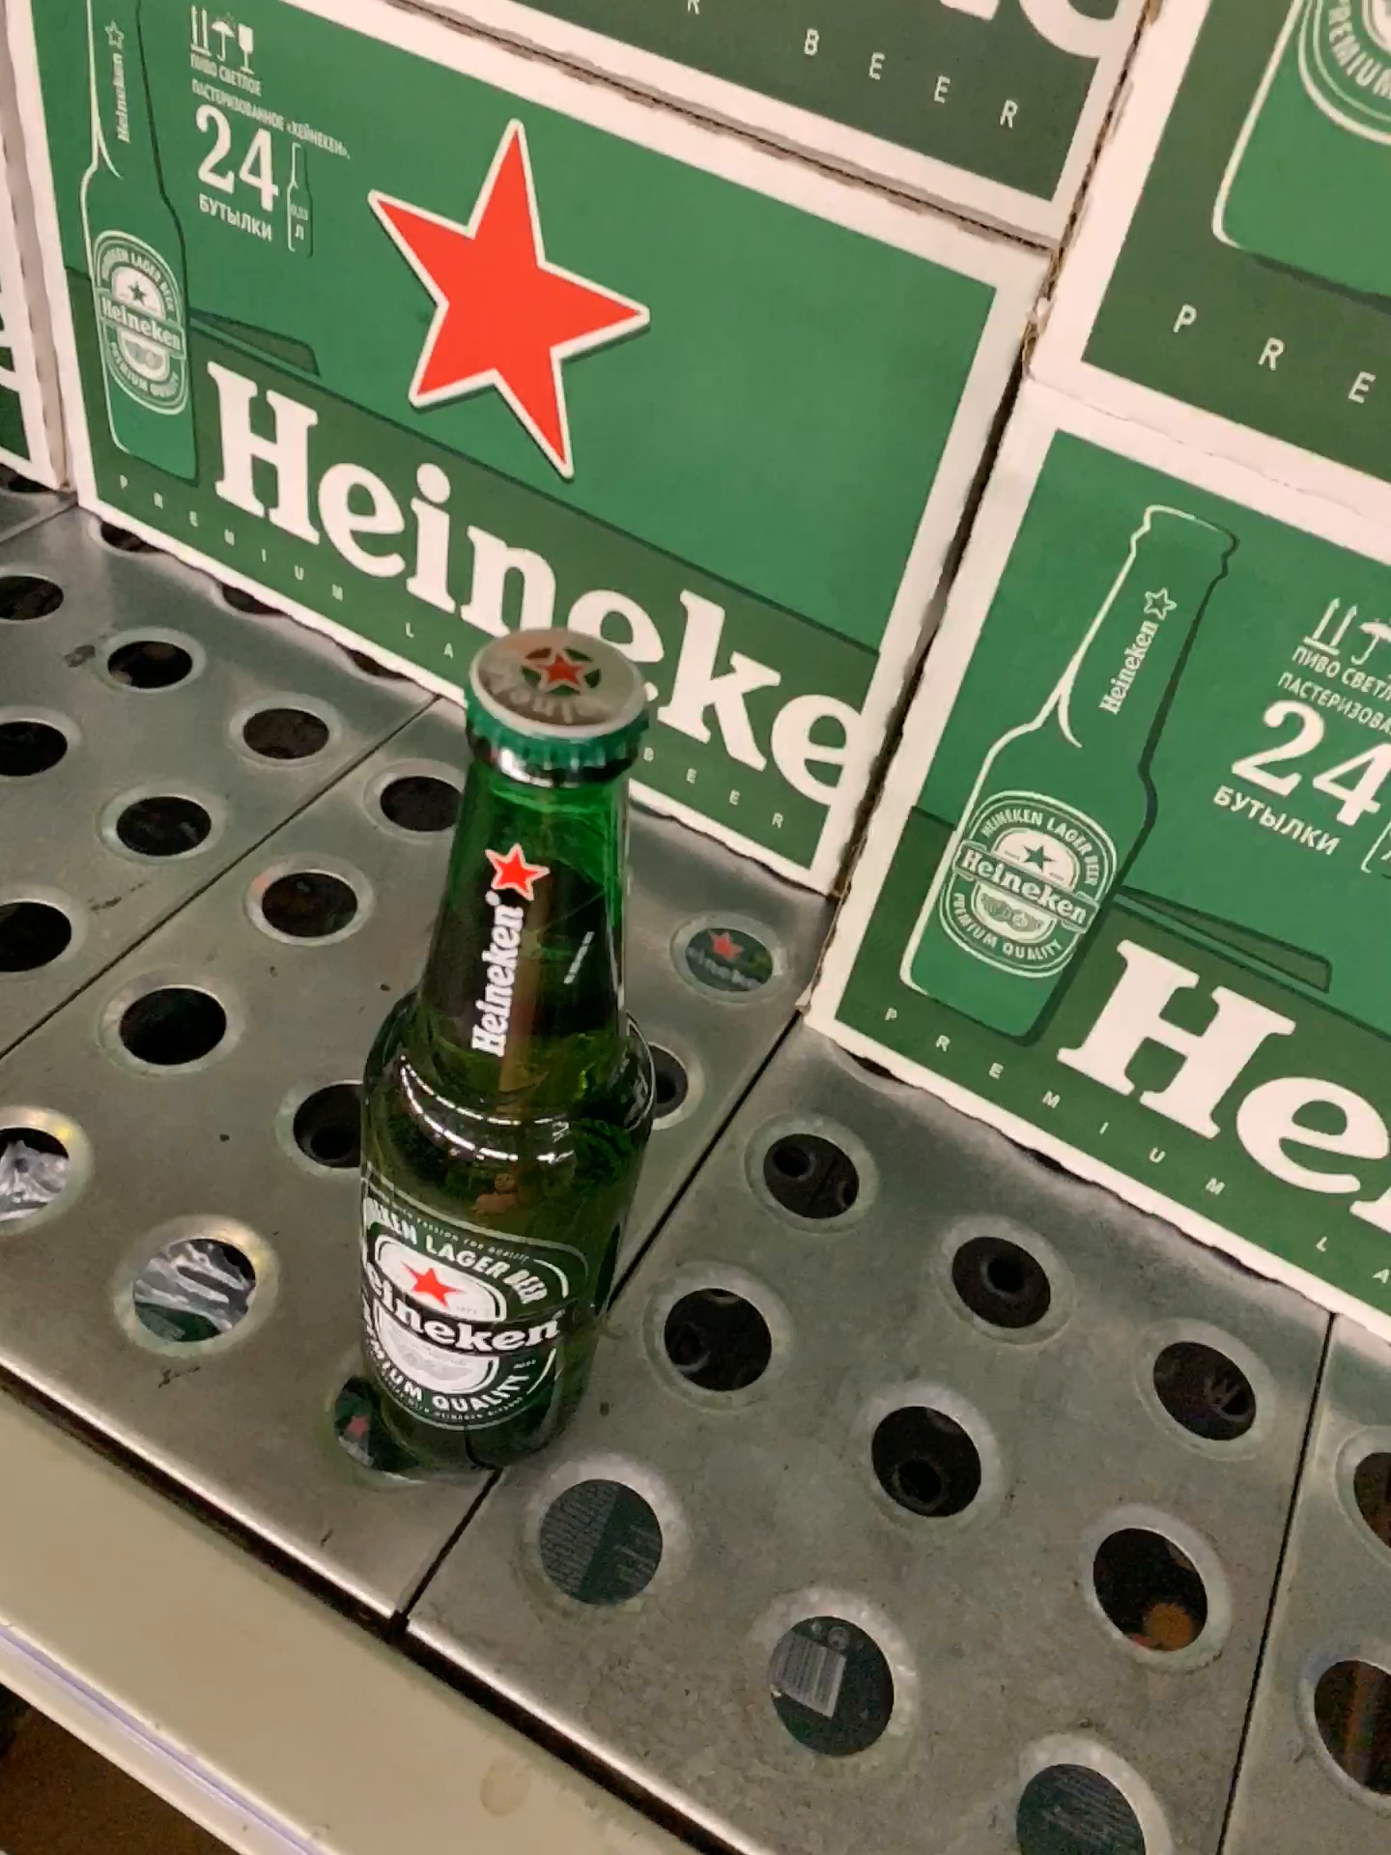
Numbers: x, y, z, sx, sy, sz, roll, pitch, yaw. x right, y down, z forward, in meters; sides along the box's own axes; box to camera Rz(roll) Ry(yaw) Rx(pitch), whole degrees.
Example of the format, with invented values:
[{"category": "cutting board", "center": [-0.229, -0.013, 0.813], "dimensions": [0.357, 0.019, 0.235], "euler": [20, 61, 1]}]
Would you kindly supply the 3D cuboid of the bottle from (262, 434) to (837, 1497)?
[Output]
[{"category": "bottle", "center": [-0.038, 0.028, 0.286], "dimensions": [0.060, 0.225, 0.060], "euler": [7, 46, -7]}]
